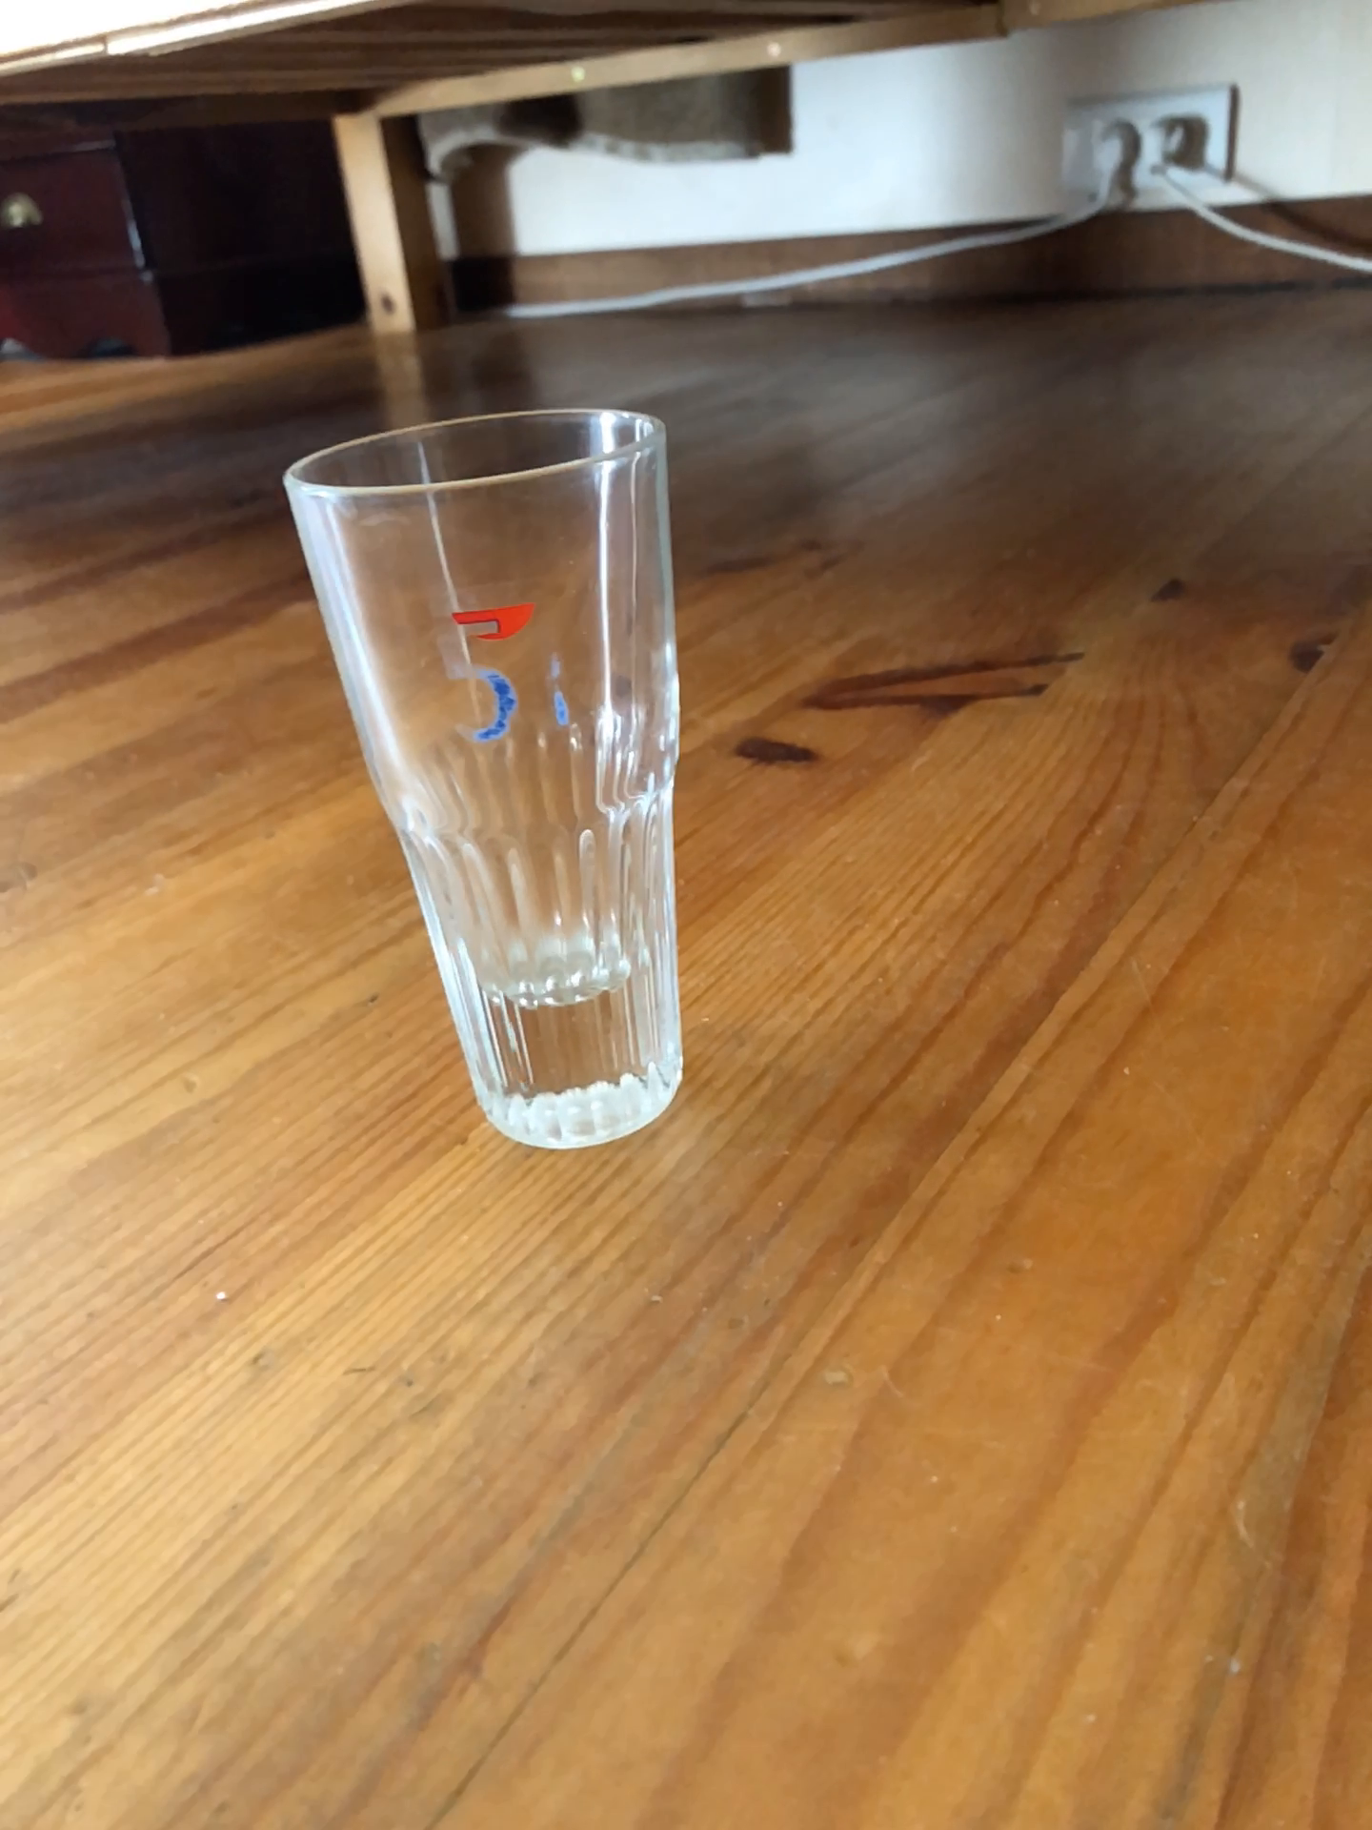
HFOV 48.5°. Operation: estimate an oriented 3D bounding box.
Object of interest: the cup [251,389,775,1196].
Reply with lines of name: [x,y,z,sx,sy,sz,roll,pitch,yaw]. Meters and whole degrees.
cup: [-0.025,-0.023,0.266,0.064,0.117,0.069,-5,26,3]
